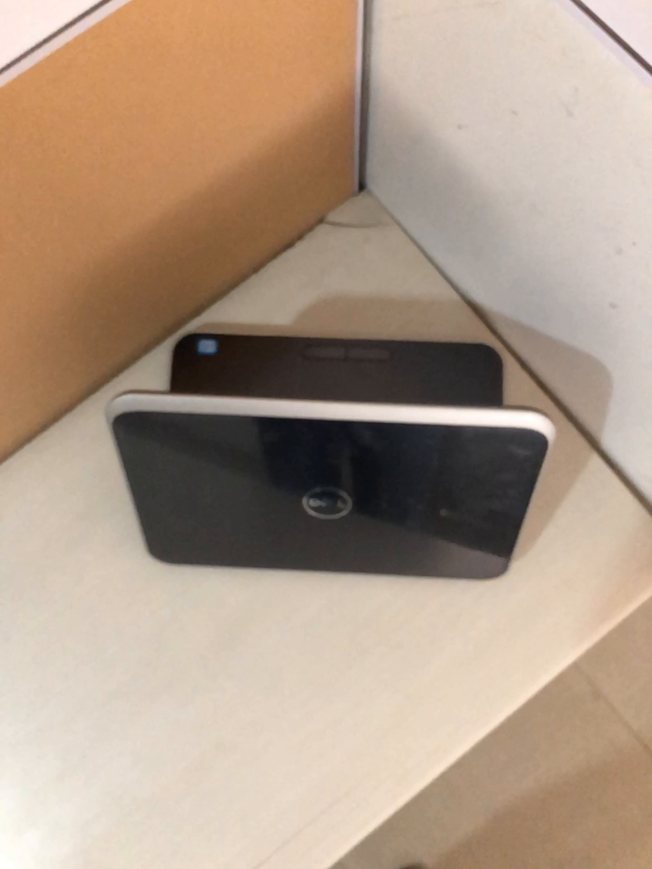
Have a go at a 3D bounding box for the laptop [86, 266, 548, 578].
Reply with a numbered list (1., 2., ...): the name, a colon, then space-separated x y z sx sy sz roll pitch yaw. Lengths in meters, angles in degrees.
1. laptop: 0.002 0.004 0.672 0.347 0.193 0.240 3 80 1
